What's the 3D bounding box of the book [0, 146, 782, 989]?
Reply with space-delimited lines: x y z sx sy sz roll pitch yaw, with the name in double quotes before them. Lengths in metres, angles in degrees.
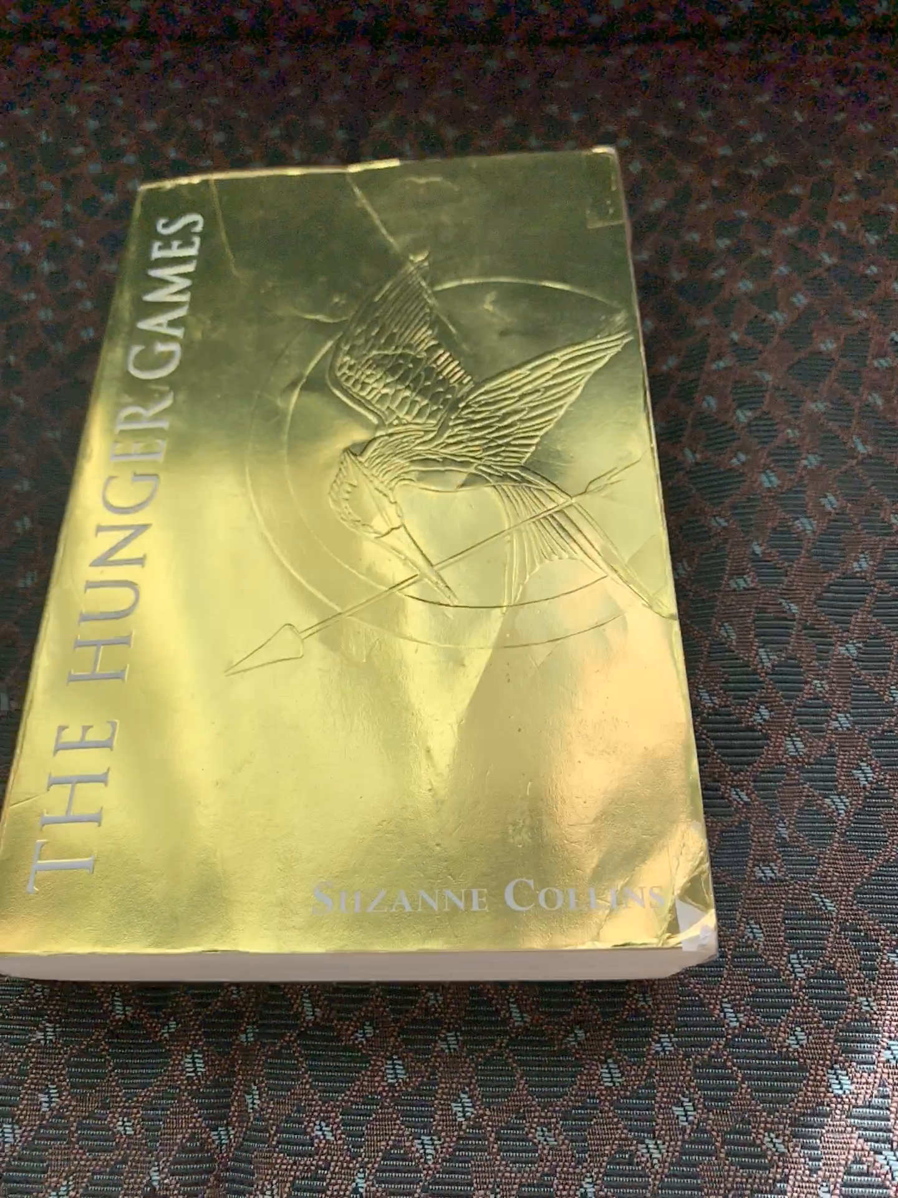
"book" -0.017 -0.020 0.220 0.142 0.037 0.201 -2 62 2
